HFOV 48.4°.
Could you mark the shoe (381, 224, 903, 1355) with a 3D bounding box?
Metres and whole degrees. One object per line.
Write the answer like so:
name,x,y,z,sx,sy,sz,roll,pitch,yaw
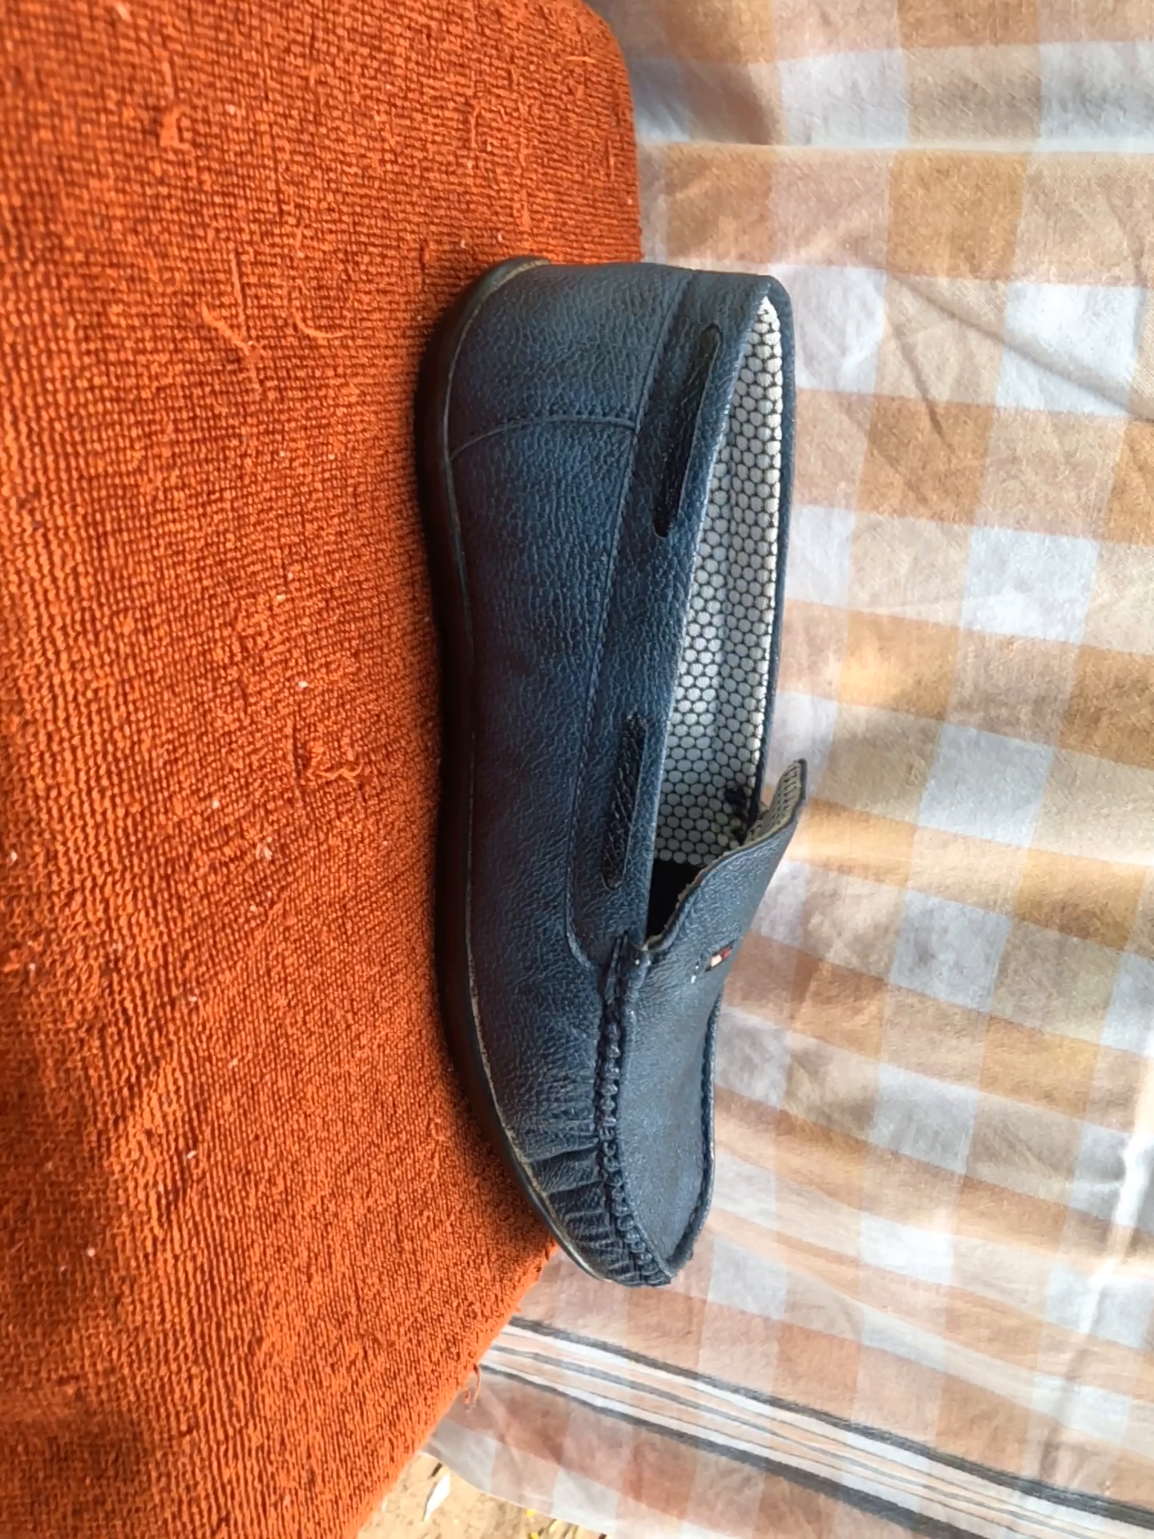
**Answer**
shoe,0.020,0.002,0.338,0.101,0.089,0.260,-36,130,-60
